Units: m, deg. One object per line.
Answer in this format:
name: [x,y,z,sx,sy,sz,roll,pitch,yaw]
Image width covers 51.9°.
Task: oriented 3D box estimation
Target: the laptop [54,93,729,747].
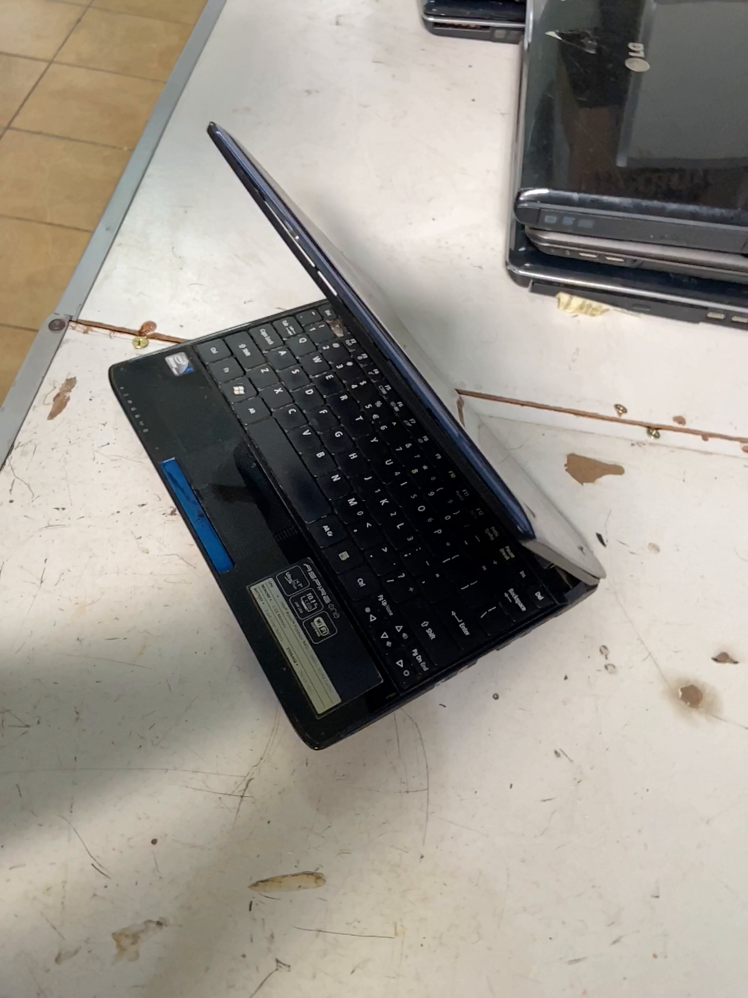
laptop: [-0.009,-0.049,0.367,0.171,0.131,0.244,-24,63,-22]
